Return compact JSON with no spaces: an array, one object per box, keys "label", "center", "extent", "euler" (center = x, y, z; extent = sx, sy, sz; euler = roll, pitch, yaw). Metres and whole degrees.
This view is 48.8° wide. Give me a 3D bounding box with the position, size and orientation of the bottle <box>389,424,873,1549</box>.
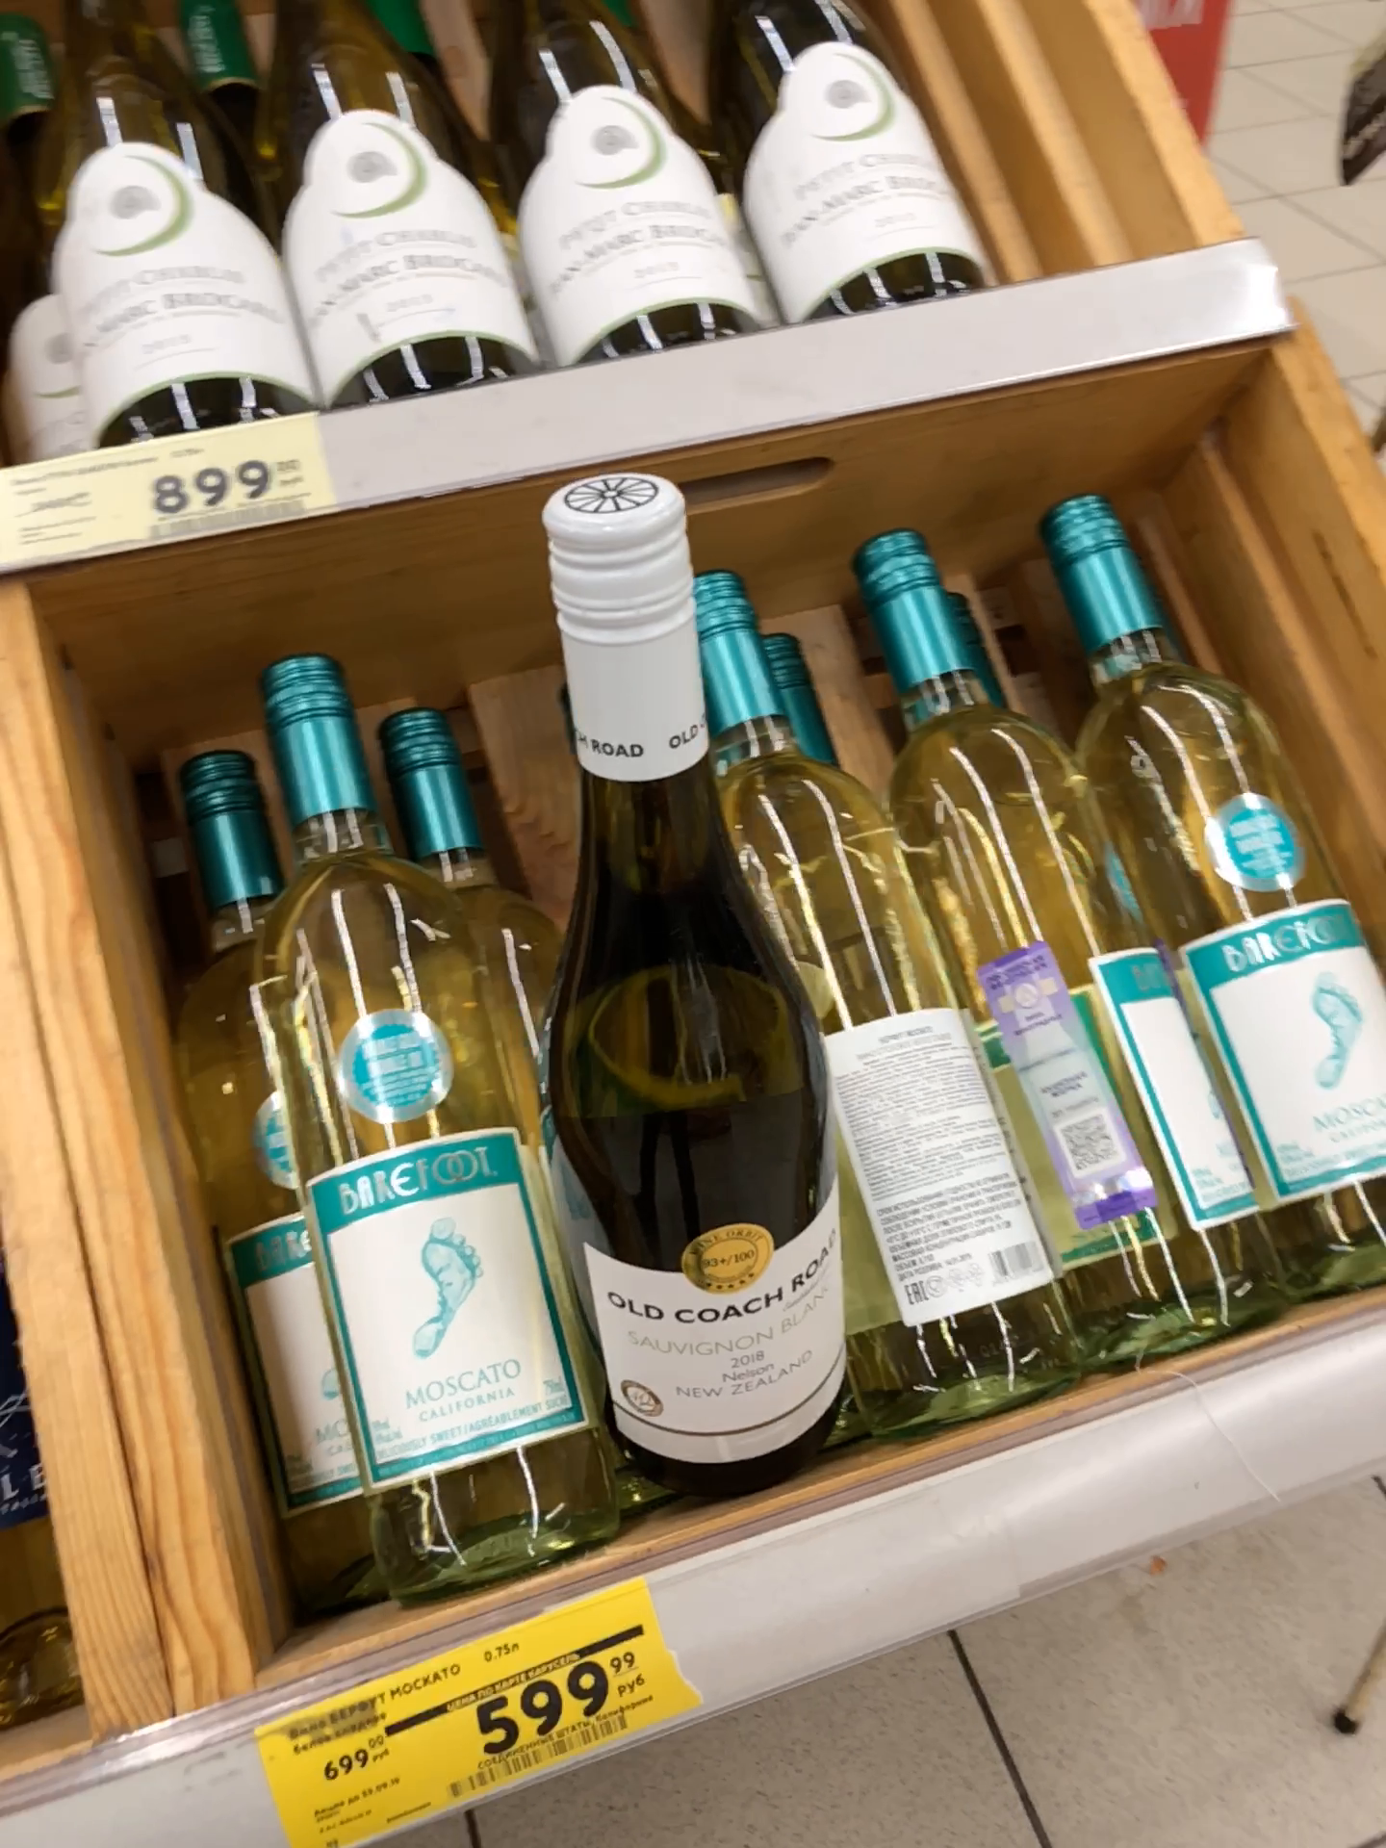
[{"label":"bottle","center":[-0.006,0.034,0.399],"extent":[0.077,0.291,0.088],"euler":[-14,39,-11]}]
